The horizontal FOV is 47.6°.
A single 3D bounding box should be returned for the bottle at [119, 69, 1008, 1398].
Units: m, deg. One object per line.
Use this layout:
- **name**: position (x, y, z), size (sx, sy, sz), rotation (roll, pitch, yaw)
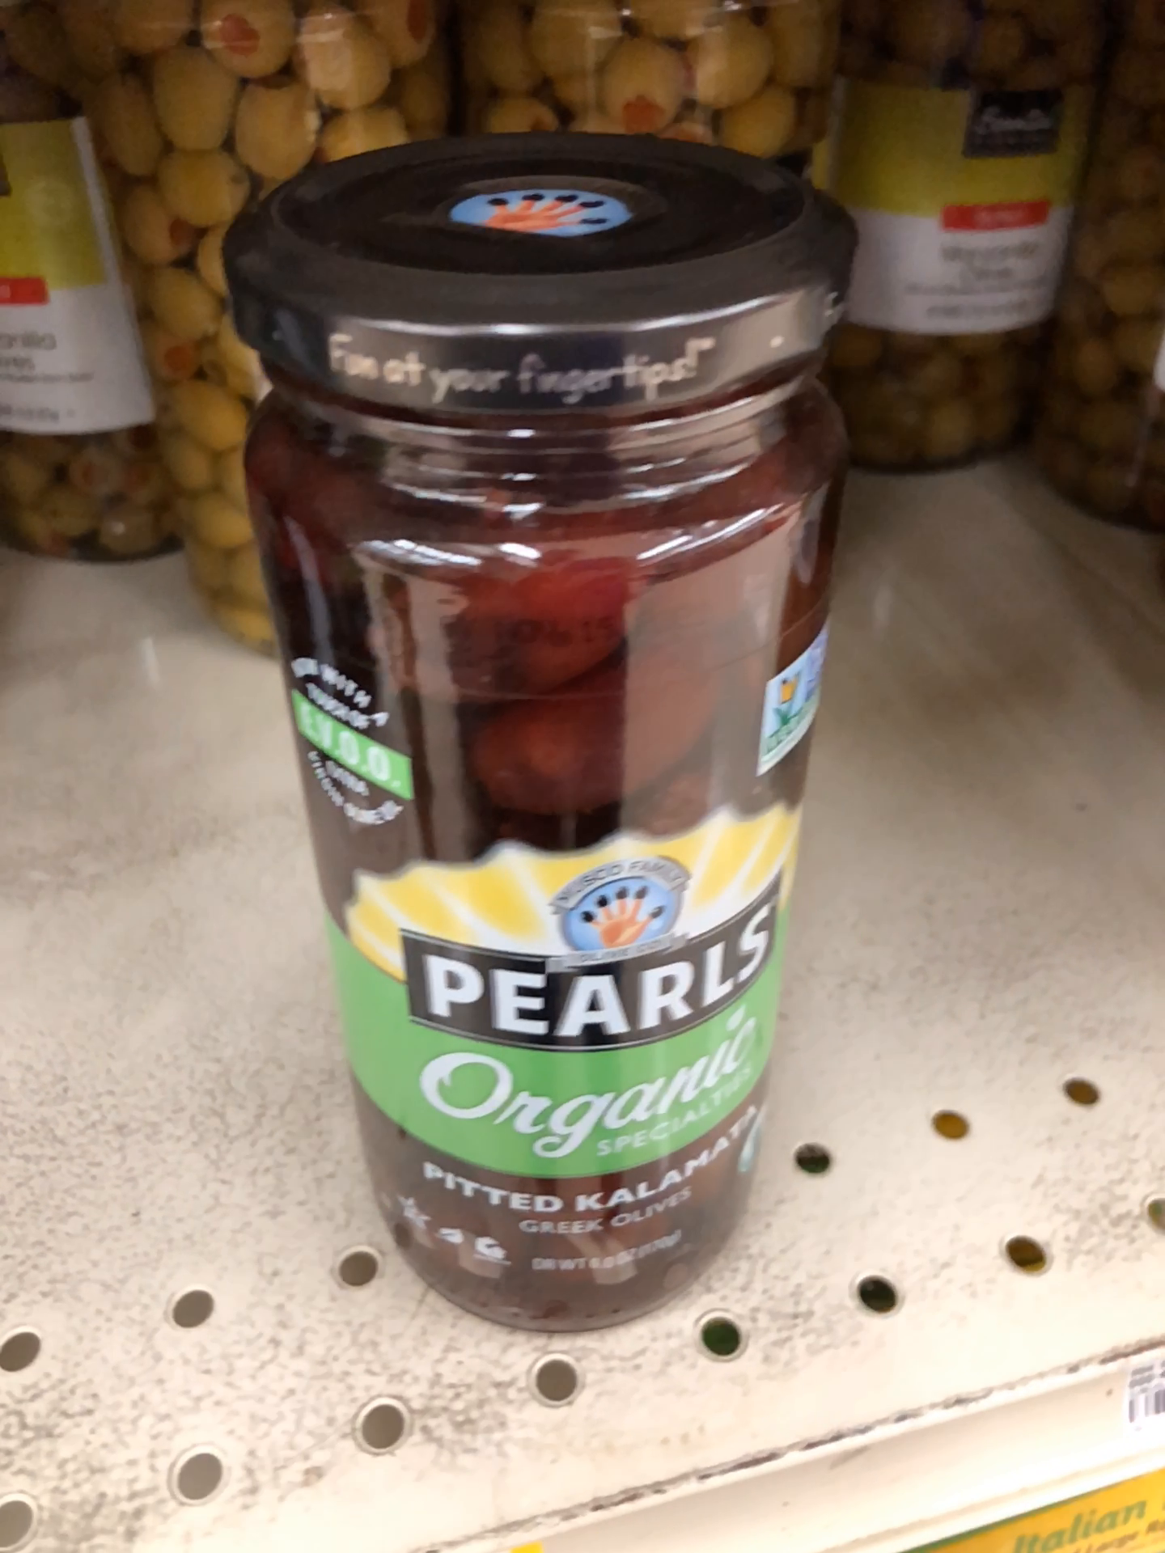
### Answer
- **bottle**: position (-0.006, 0.005, 0.161), size (0.063, 0.150, 0.060), rotation (0, 40, 0)
